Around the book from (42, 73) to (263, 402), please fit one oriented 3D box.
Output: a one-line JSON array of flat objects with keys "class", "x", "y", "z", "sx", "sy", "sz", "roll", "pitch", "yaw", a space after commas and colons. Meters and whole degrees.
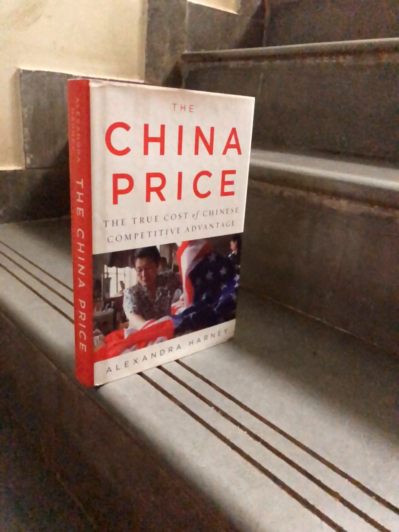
[{"class": "book", "x": -0.031, "y": -0.028, "z": 0.383, "sx": 0.180, "sy": 0.239, "sz": 0.040, "roll": -13, "pitch": 23, "yaw": -38}]
